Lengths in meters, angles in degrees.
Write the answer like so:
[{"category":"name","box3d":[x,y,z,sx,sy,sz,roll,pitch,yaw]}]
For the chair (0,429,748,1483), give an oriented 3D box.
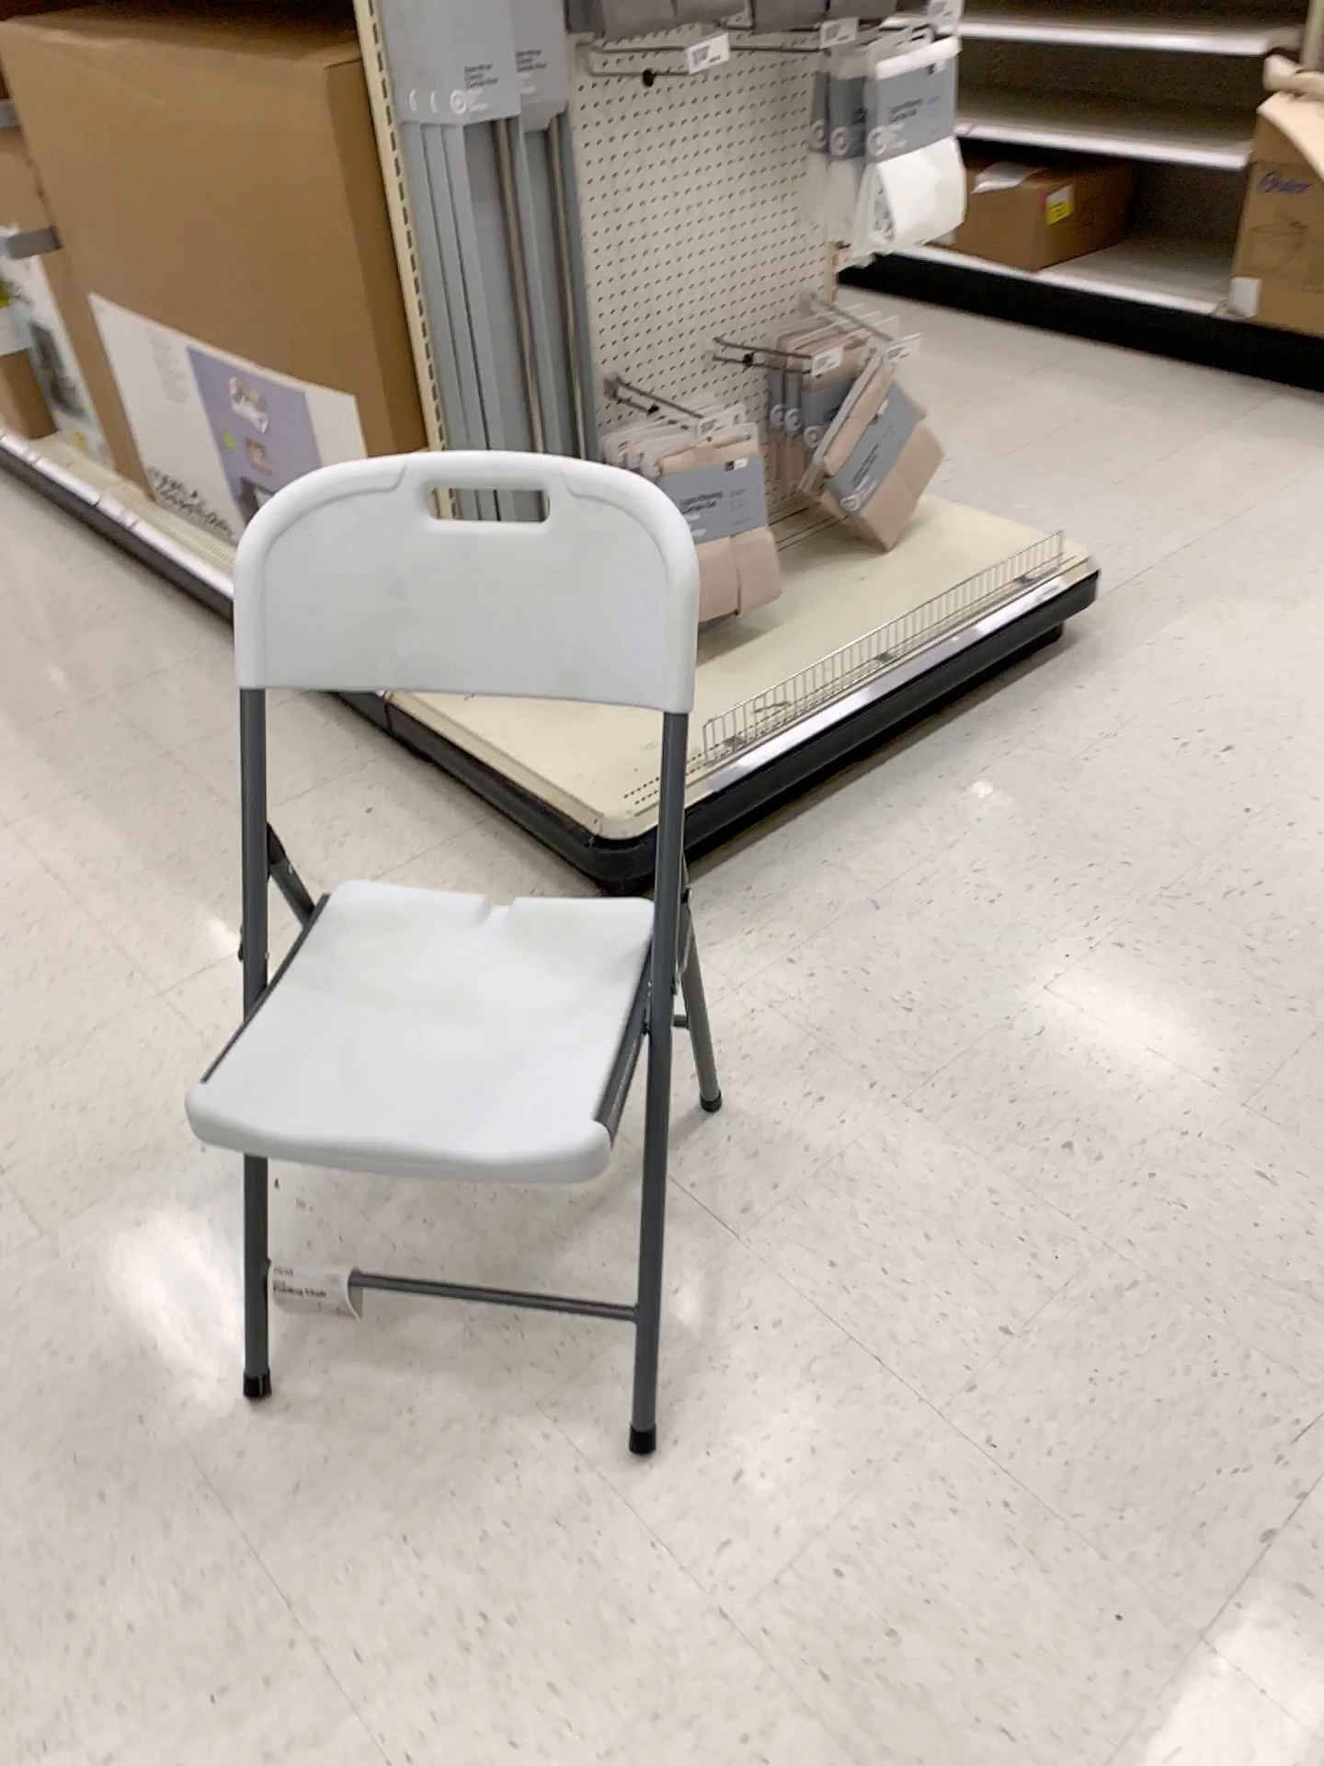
[{"category":"chair","box3d":[-0.215,0.073,1.336,0.520,0.845,0.573,3,39,10]}]
